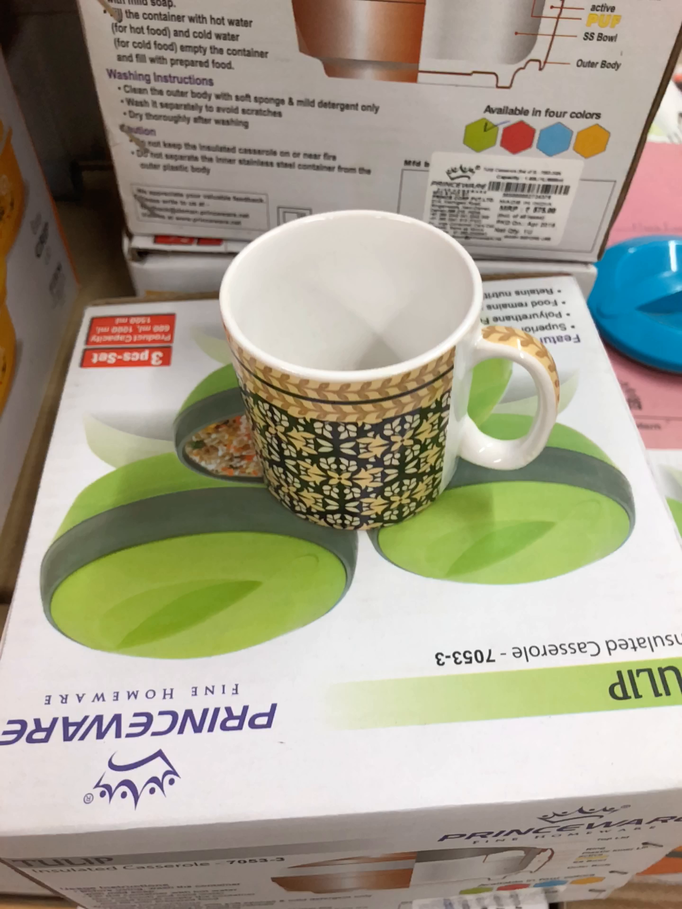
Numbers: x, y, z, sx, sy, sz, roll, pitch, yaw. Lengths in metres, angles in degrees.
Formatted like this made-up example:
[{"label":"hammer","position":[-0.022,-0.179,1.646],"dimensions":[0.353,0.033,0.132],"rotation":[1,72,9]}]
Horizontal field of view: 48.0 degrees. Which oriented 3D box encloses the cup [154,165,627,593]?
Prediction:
[{"label":"cup","position":[0.018,-0.023,0.235],"dimensions":[0.110,0.089,0.070],"rotation":[12,50,13]}]
